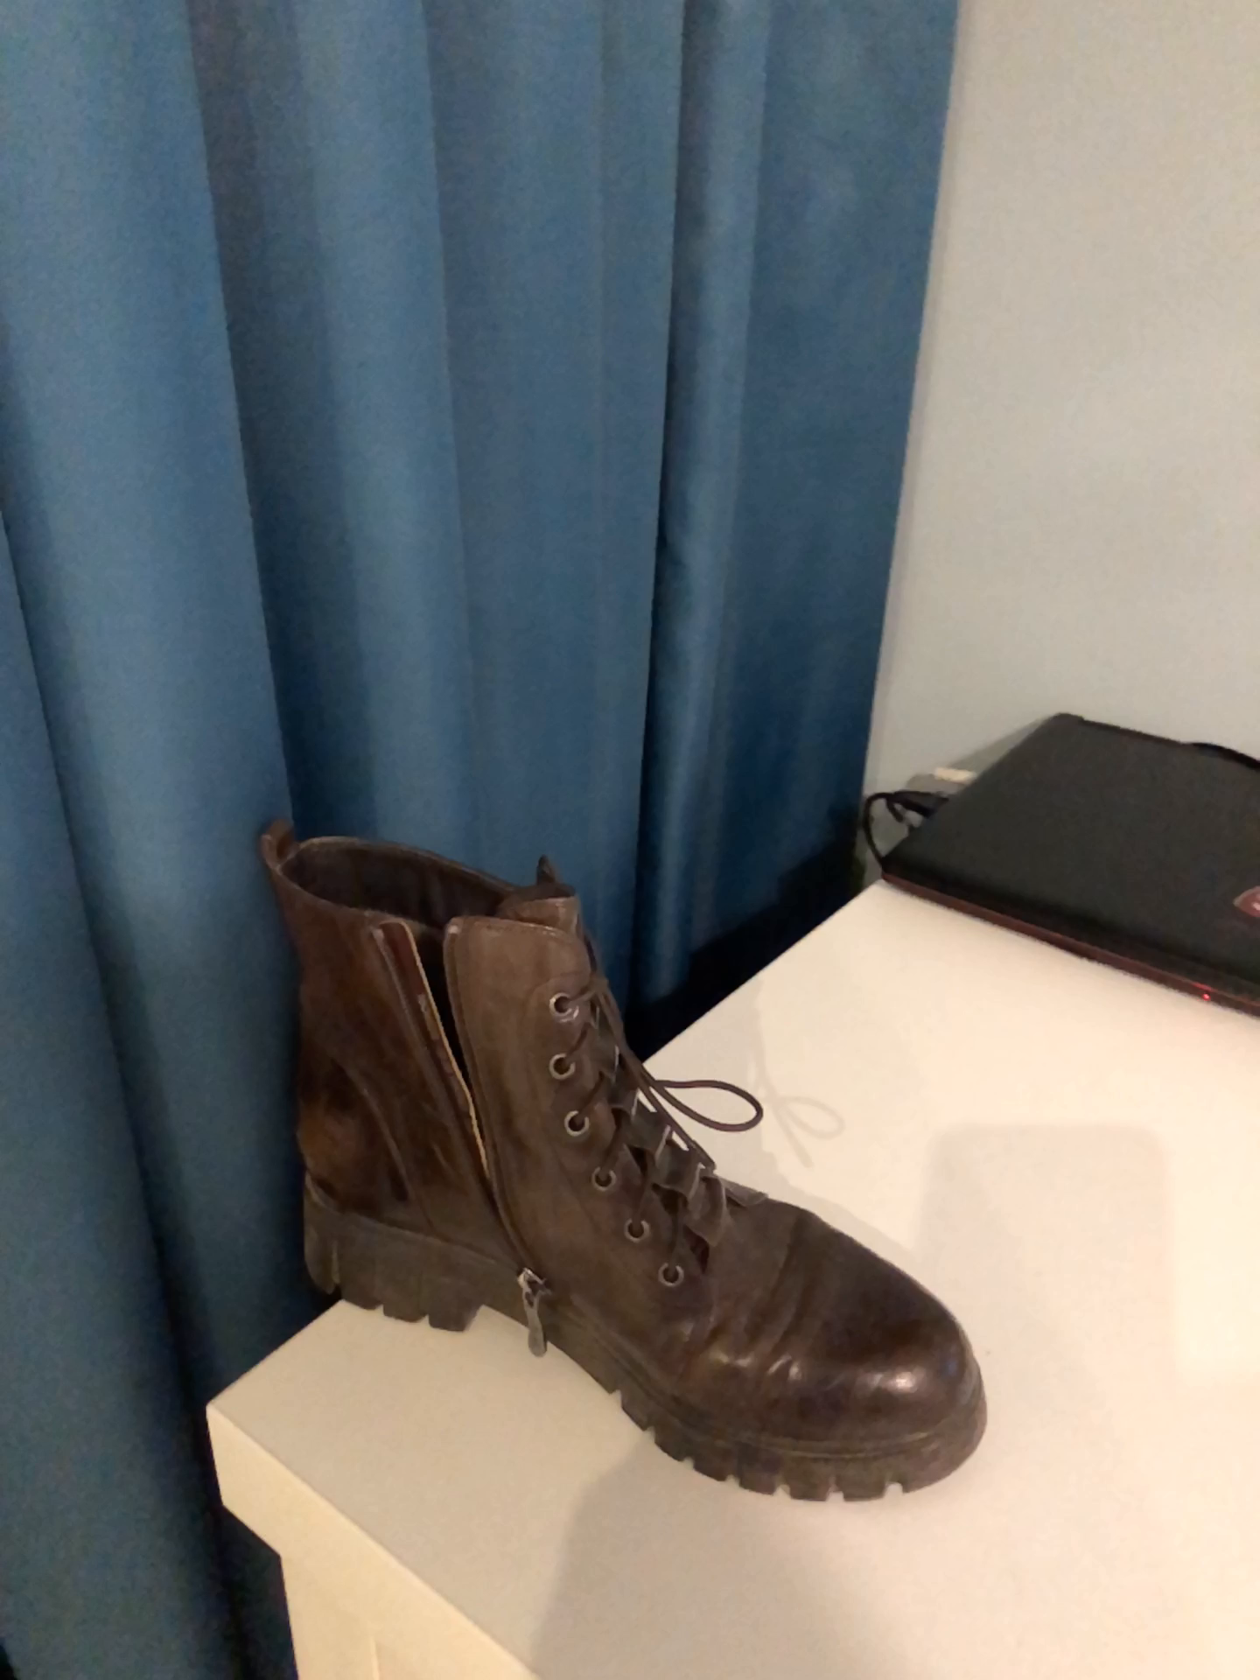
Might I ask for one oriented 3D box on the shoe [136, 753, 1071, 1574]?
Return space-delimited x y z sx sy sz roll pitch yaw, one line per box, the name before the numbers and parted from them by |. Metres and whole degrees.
shoe | -0.012 0.091 0.461 0.270 0.169 0.101 13 29 24
